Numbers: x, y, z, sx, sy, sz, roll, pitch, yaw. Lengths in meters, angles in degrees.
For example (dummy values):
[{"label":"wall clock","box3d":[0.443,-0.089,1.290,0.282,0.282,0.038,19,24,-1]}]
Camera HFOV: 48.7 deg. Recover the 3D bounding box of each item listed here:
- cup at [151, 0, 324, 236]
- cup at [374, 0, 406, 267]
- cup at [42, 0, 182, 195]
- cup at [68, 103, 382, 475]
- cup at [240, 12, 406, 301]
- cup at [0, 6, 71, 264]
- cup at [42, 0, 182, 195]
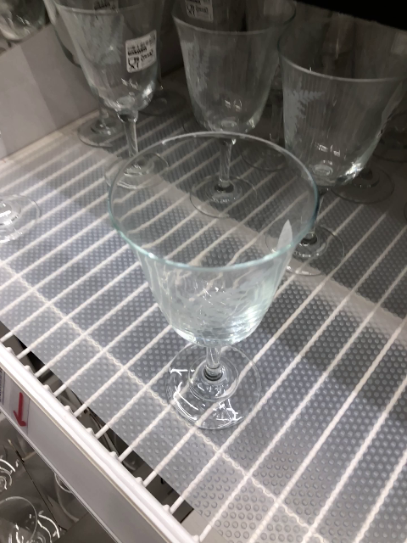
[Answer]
[{"label":"cup","box3d":[0.025,-0.120,0.344,0.079,0.146,0.086,0,48,0]},{"label":"cup","box3d":[0.199,-0.095,0.311,0.089,0.136,0.086,0,48,0]},{"label":"cup","box3d":[-0.065,-0.147,0.370,0.069,0.146,0.066,0,48,0]},{"label":"cup","box3d":[0.009,0.016,0.236,0.089,0.156,0.086,0,48,0]},{"label":"cup","box3d":[0.092,-0.076,0.319,0.087,0.155,0.089,0,48,0]},{"label":"cup","box3d":[-0.158,-0.092,0.329,0.069,0.156,0.066,0,48,0]},{"label":"cup","box3d":[-0.065,-0.147,0.370,0.069,0.146,0.066,0,48,0]}]
